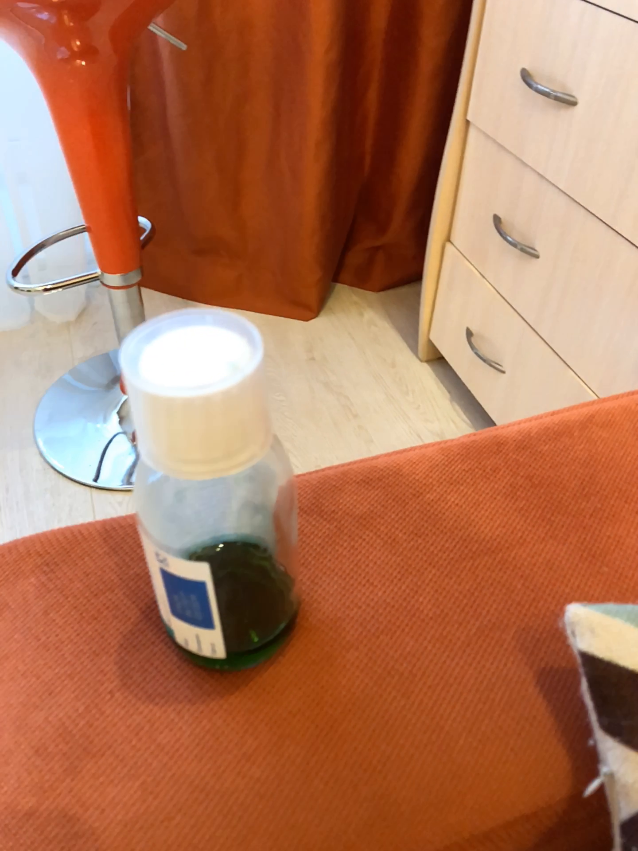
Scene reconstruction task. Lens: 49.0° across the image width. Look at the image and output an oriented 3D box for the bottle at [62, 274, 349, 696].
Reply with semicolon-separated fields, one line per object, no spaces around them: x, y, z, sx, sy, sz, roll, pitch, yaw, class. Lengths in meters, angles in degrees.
-0.033;0.020;0.215;0.060;0.106;0.060;1;42;-1;bottle
